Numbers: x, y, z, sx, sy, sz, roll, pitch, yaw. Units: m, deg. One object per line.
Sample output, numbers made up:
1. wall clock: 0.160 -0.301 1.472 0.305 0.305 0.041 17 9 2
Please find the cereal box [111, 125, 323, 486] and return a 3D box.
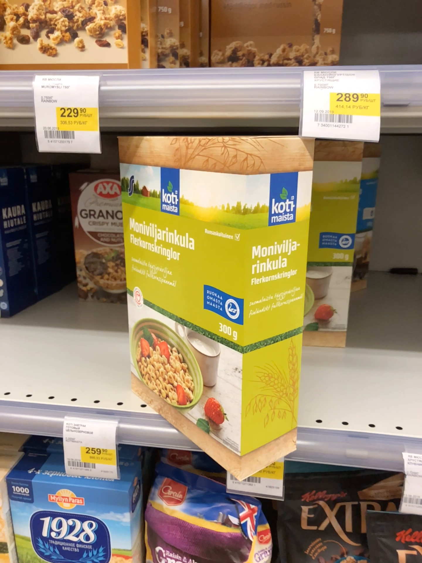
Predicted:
1. cereal box: -0.008 0.002 0.412 0.070 0.259 0.190 -11 19 -35
